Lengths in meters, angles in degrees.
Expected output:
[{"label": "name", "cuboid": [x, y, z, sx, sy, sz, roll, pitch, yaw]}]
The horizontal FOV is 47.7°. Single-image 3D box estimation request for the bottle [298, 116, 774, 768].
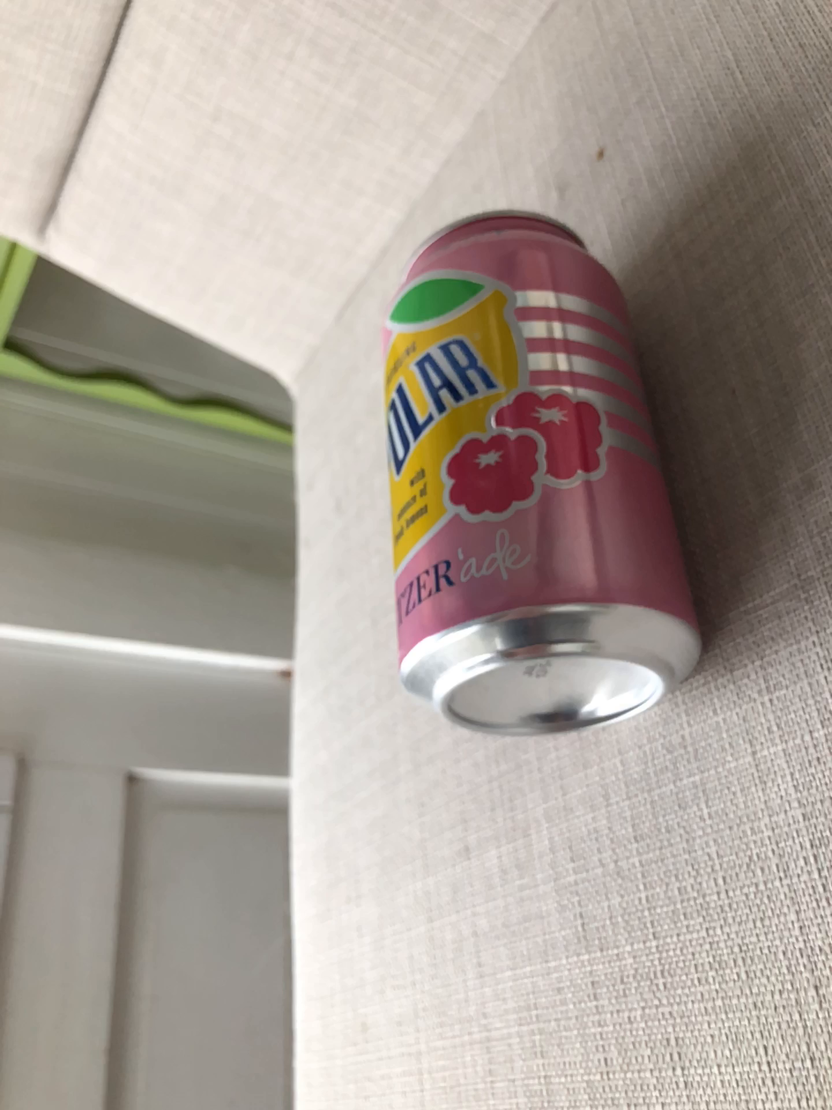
[{"label": "bottle", "cuboid": [0.018, -0.023, 0.222, 0.070, 0.065, 0.123, -41, 45, 46]}]
